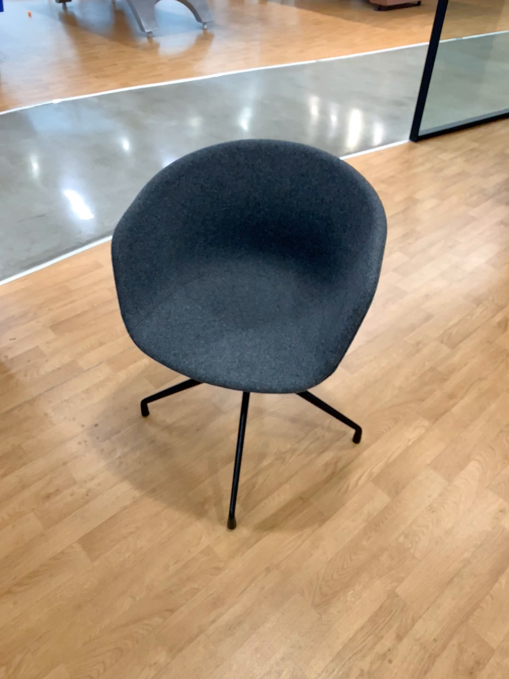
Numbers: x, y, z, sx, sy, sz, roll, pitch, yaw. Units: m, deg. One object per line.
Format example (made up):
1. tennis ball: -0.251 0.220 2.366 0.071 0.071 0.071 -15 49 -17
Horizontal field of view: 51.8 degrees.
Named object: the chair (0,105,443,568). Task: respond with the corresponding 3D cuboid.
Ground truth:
1. chair: -0.031 -0.068 1.294 0.711 0.684 0.735 16 43 16
